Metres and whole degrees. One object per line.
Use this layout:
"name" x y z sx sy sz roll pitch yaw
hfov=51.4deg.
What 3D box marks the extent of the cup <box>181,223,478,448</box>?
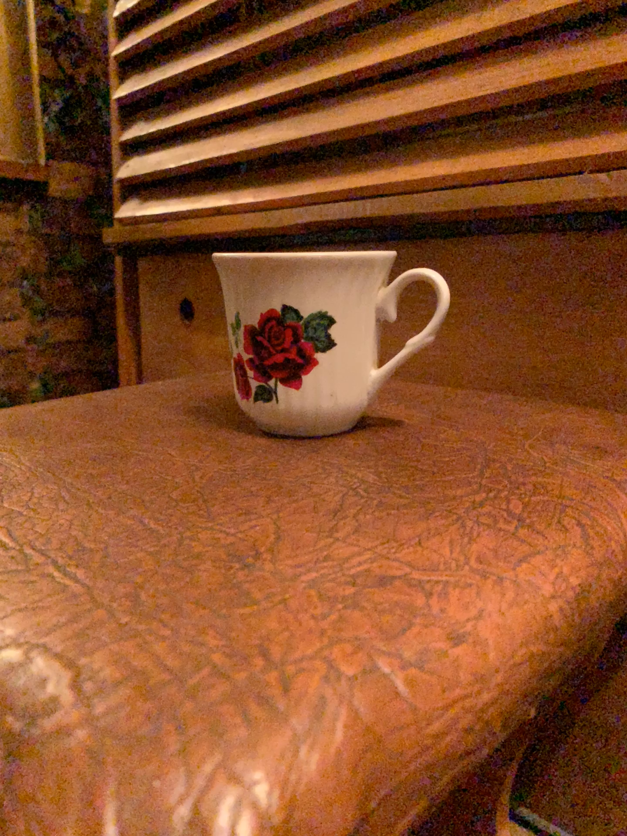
"cup" 0.012 -0.041 0.296 0.111 0.082 0.085 4 12 18
